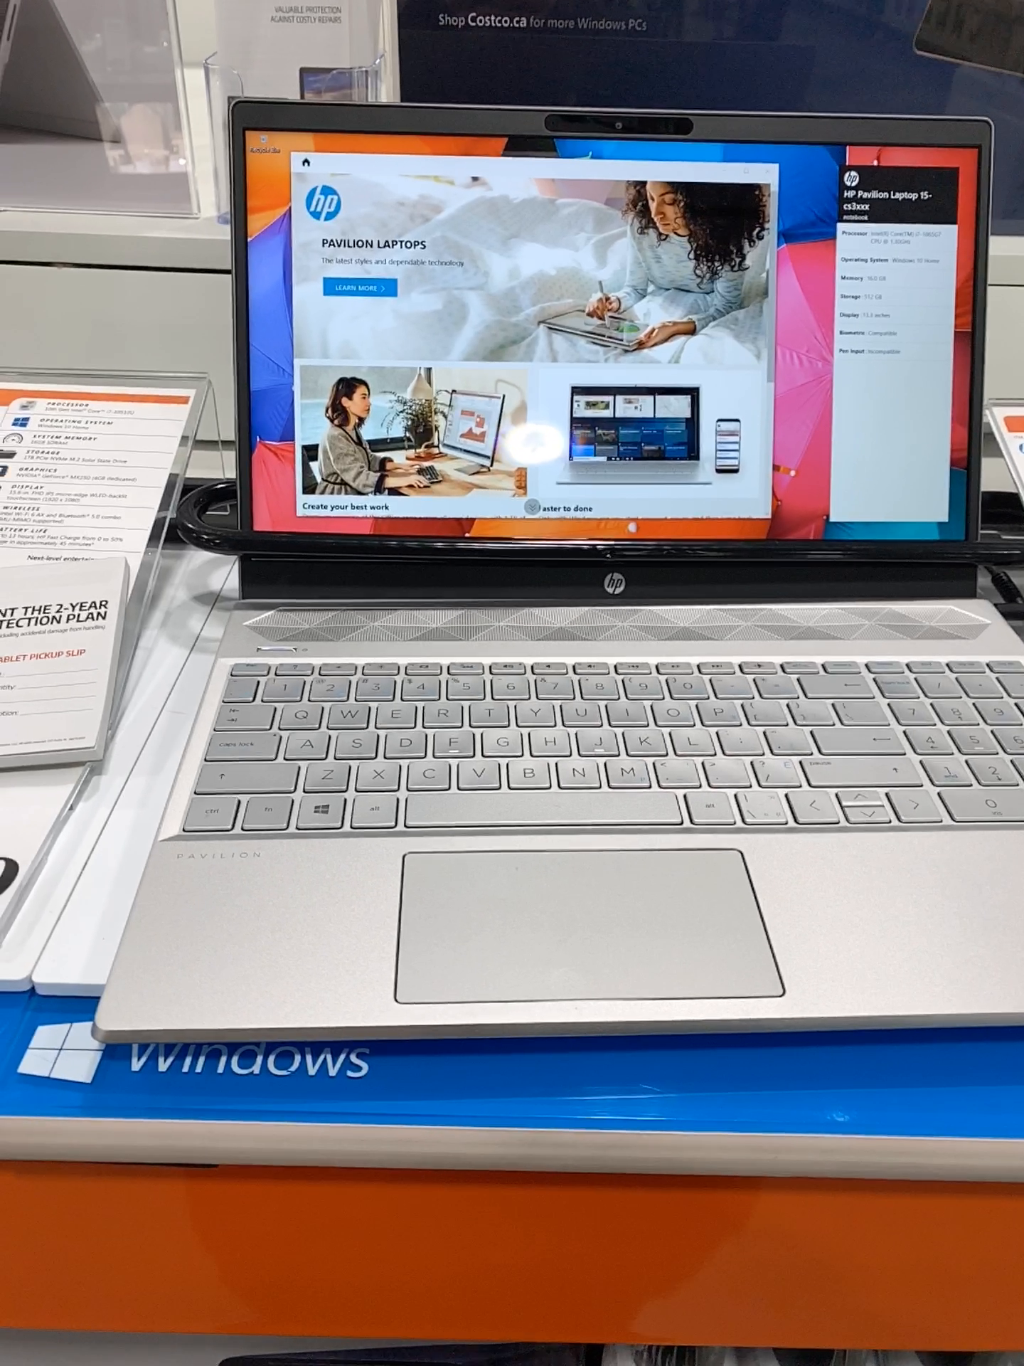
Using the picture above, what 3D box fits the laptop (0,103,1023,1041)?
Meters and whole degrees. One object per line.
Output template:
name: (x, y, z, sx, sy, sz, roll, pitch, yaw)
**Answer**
laptop: (0.054, -0.080, 0.373, 0.332, 0.175, 0.335, 0, 35, -3)
